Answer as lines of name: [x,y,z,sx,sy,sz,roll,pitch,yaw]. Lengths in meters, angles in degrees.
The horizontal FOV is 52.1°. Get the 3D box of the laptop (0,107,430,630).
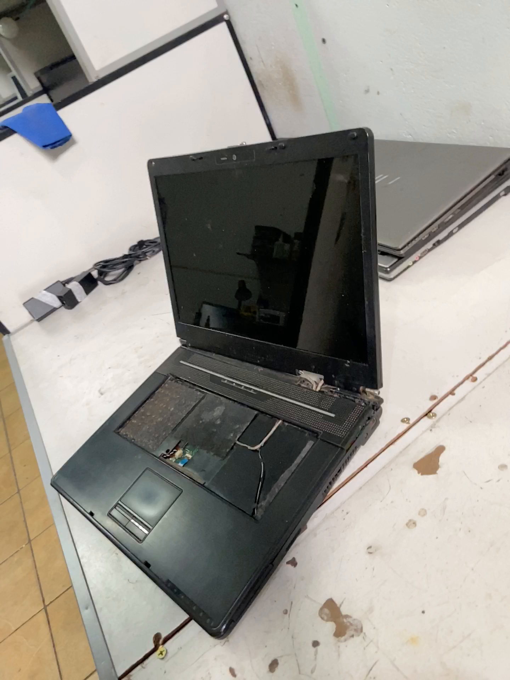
laptop: [-0.086,-0.008,0.563,0.345,0.235,0.380,13,53,47]
